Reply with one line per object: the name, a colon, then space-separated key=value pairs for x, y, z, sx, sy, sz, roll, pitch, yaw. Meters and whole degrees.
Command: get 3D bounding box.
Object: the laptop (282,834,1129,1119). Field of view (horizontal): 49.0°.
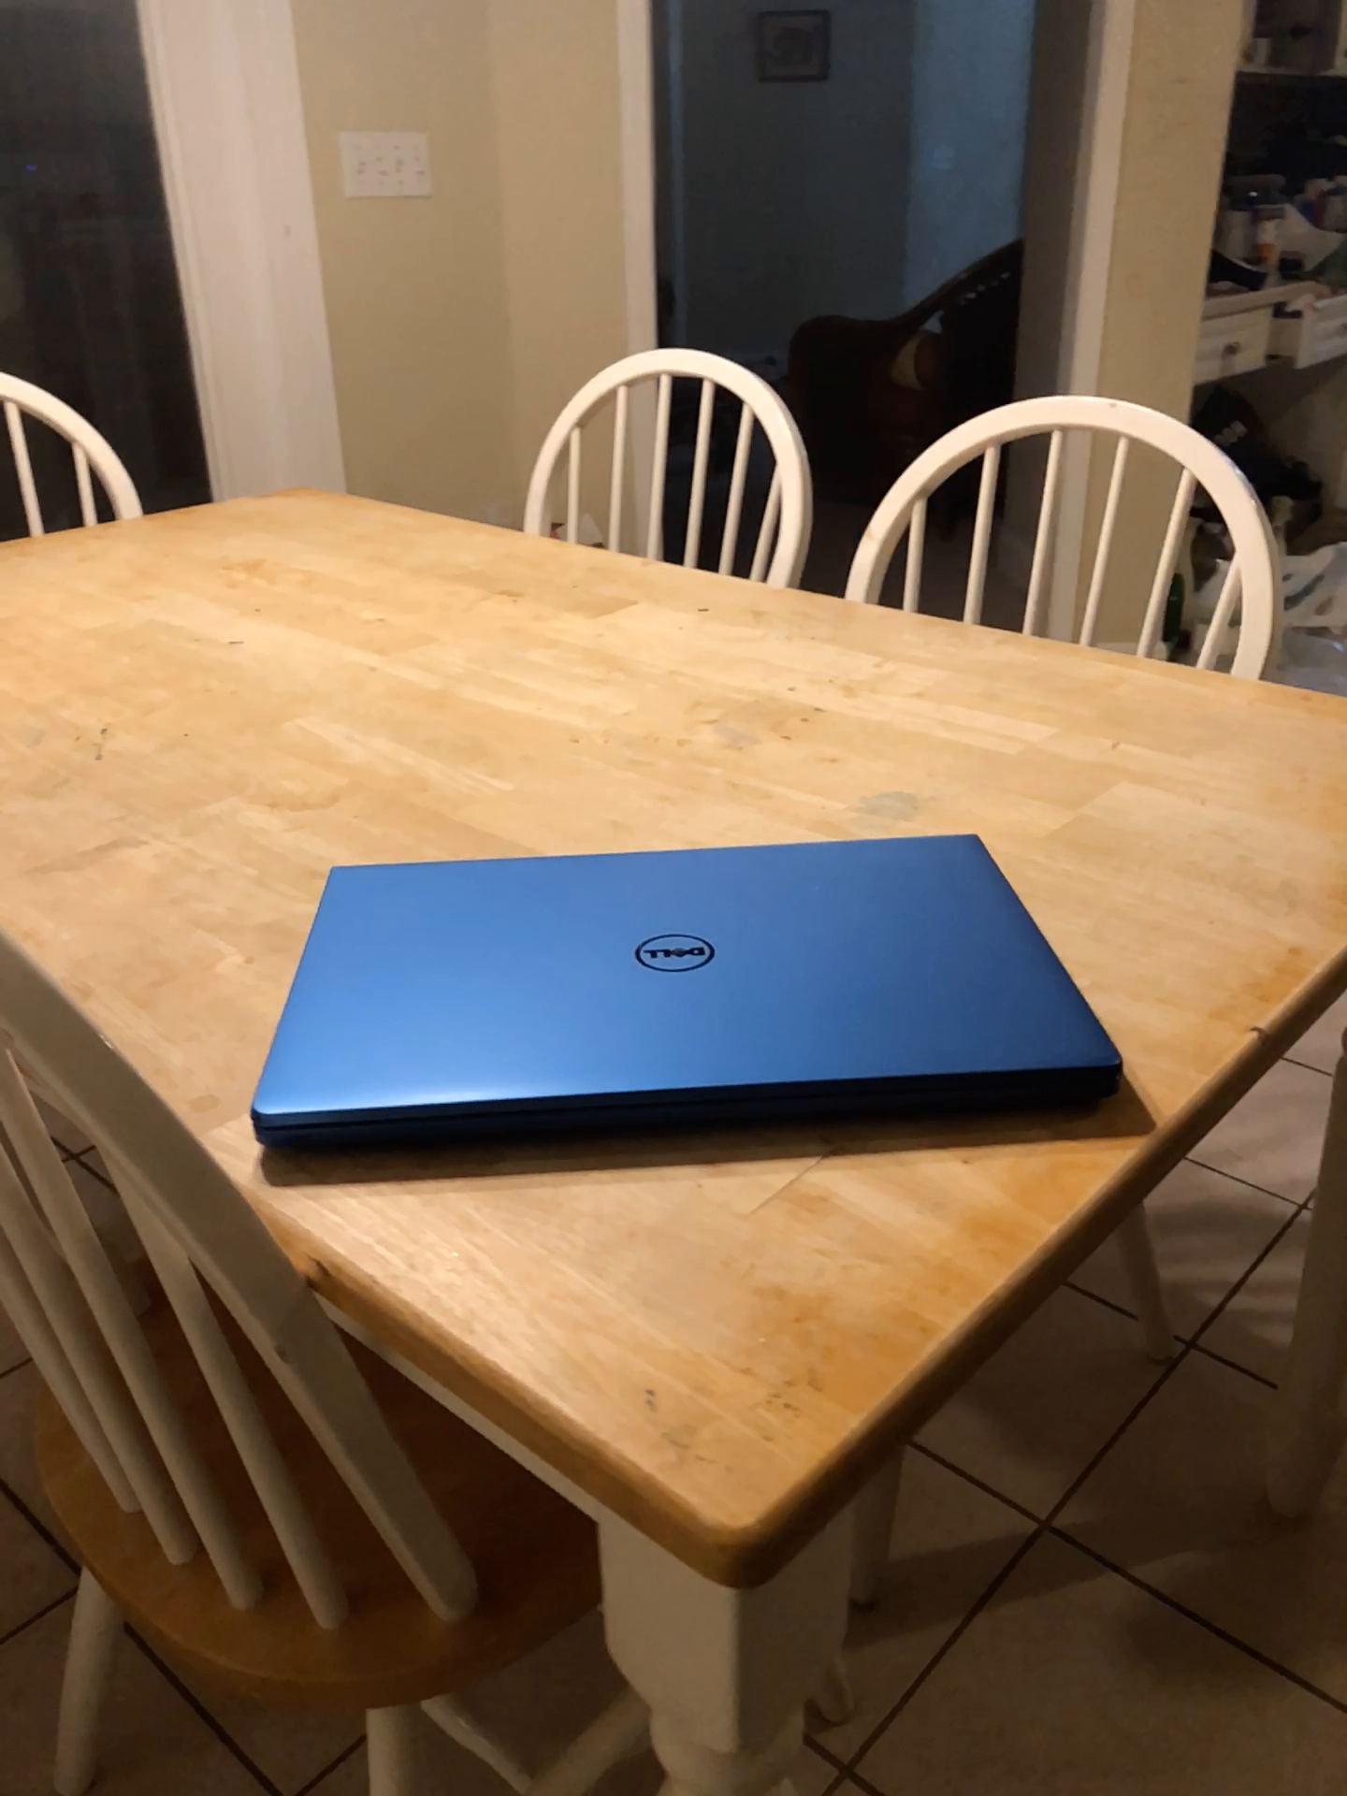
laptop: x=0.009 y=0.030 z=0.790 sx=0.388 sy=0.001 sz=0.261 roll=-3 pitch=27 yaw=-3
